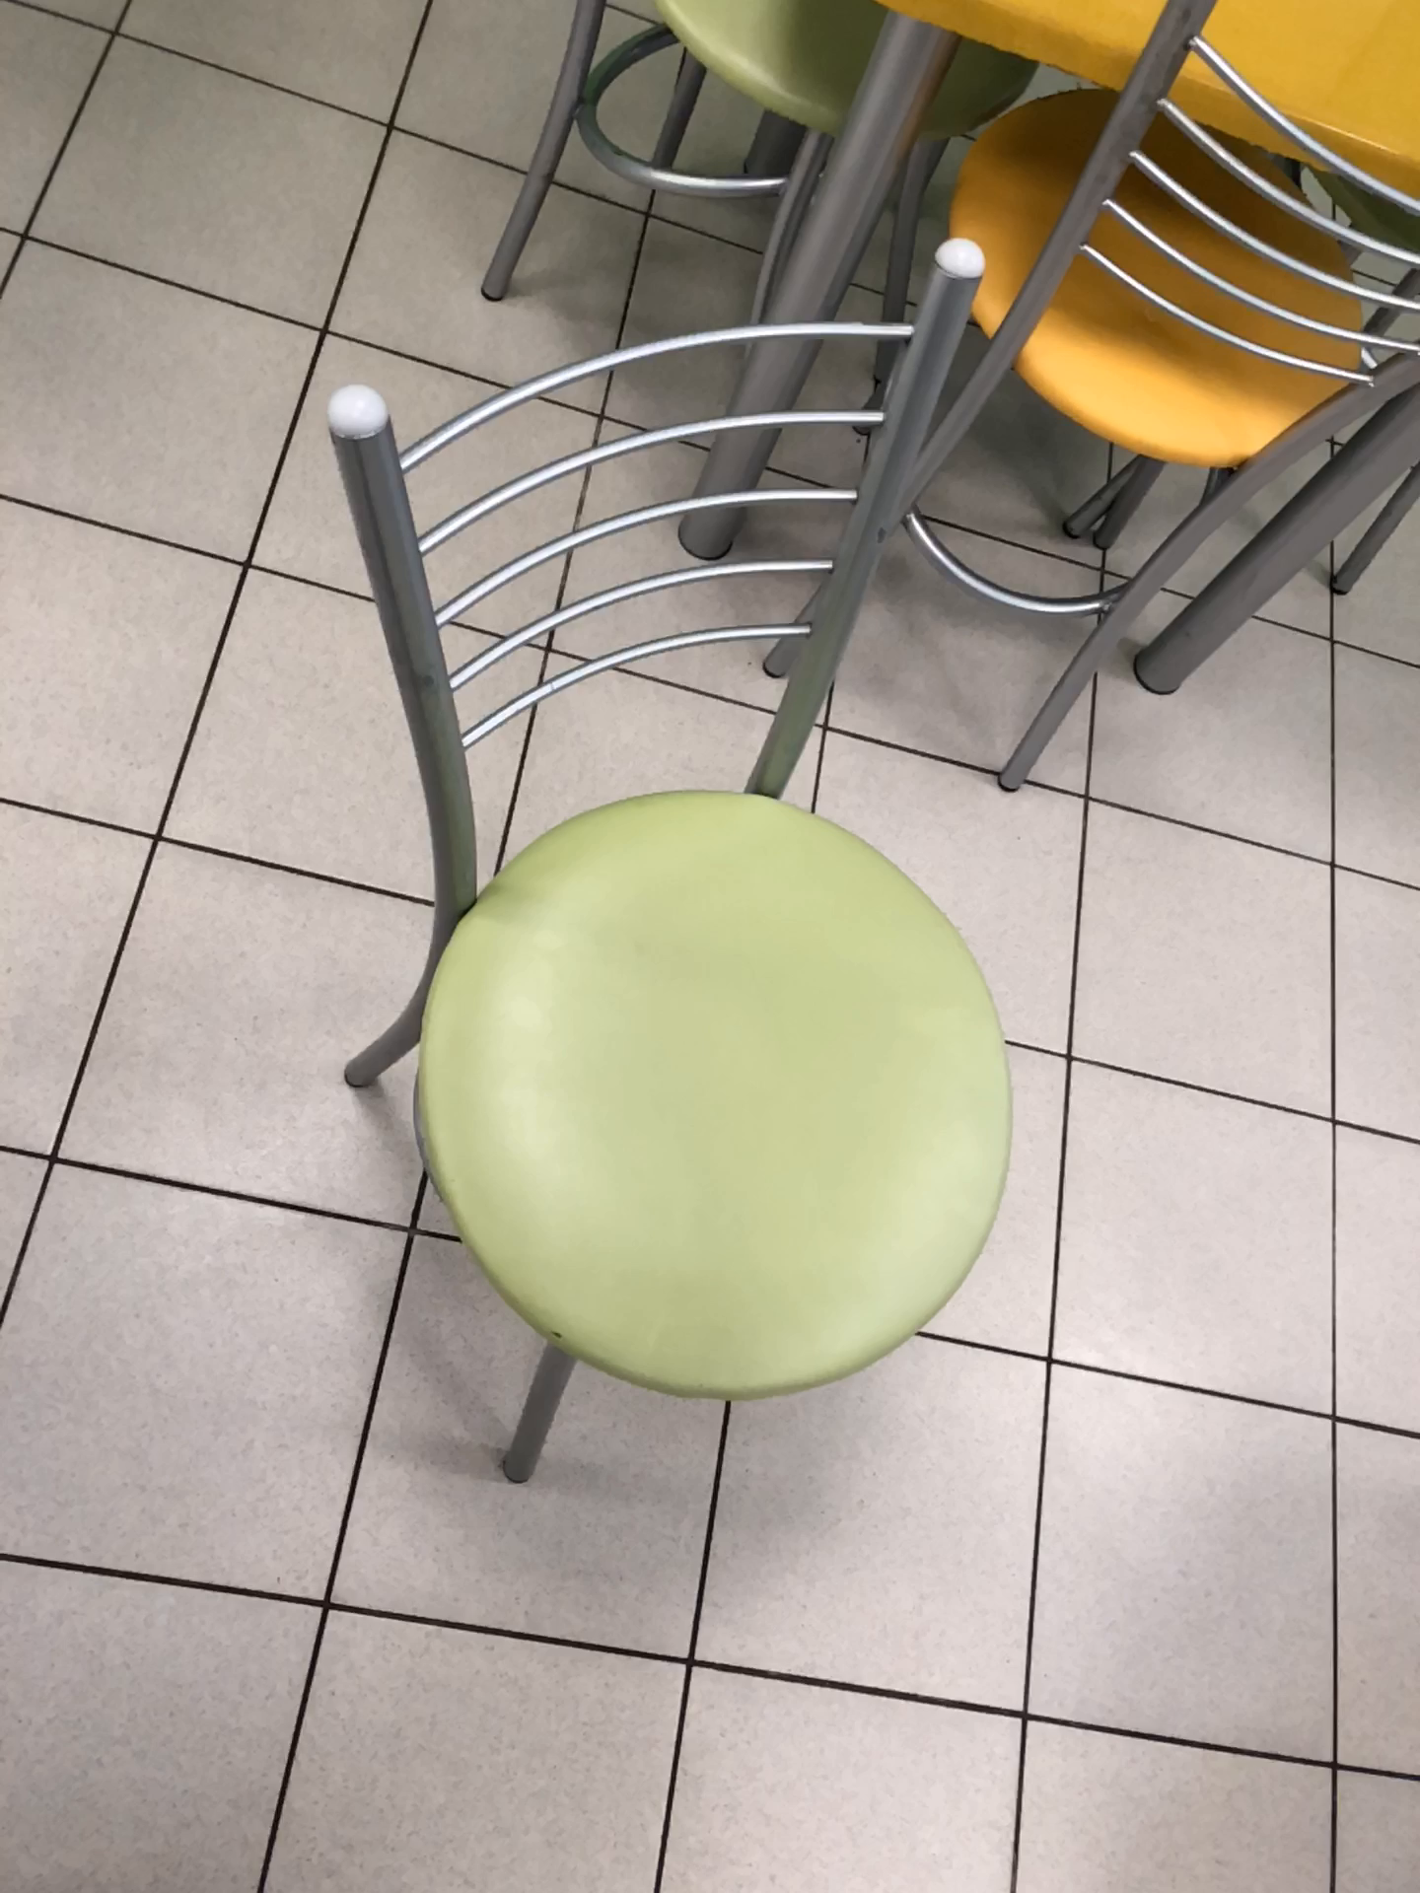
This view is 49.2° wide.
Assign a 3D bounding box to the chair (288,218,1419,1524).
[{"bbox_3d":[-0.003,0.057,1.012,0.375,0.828,0.479,-21,77,-21],"label":"chair"}]
